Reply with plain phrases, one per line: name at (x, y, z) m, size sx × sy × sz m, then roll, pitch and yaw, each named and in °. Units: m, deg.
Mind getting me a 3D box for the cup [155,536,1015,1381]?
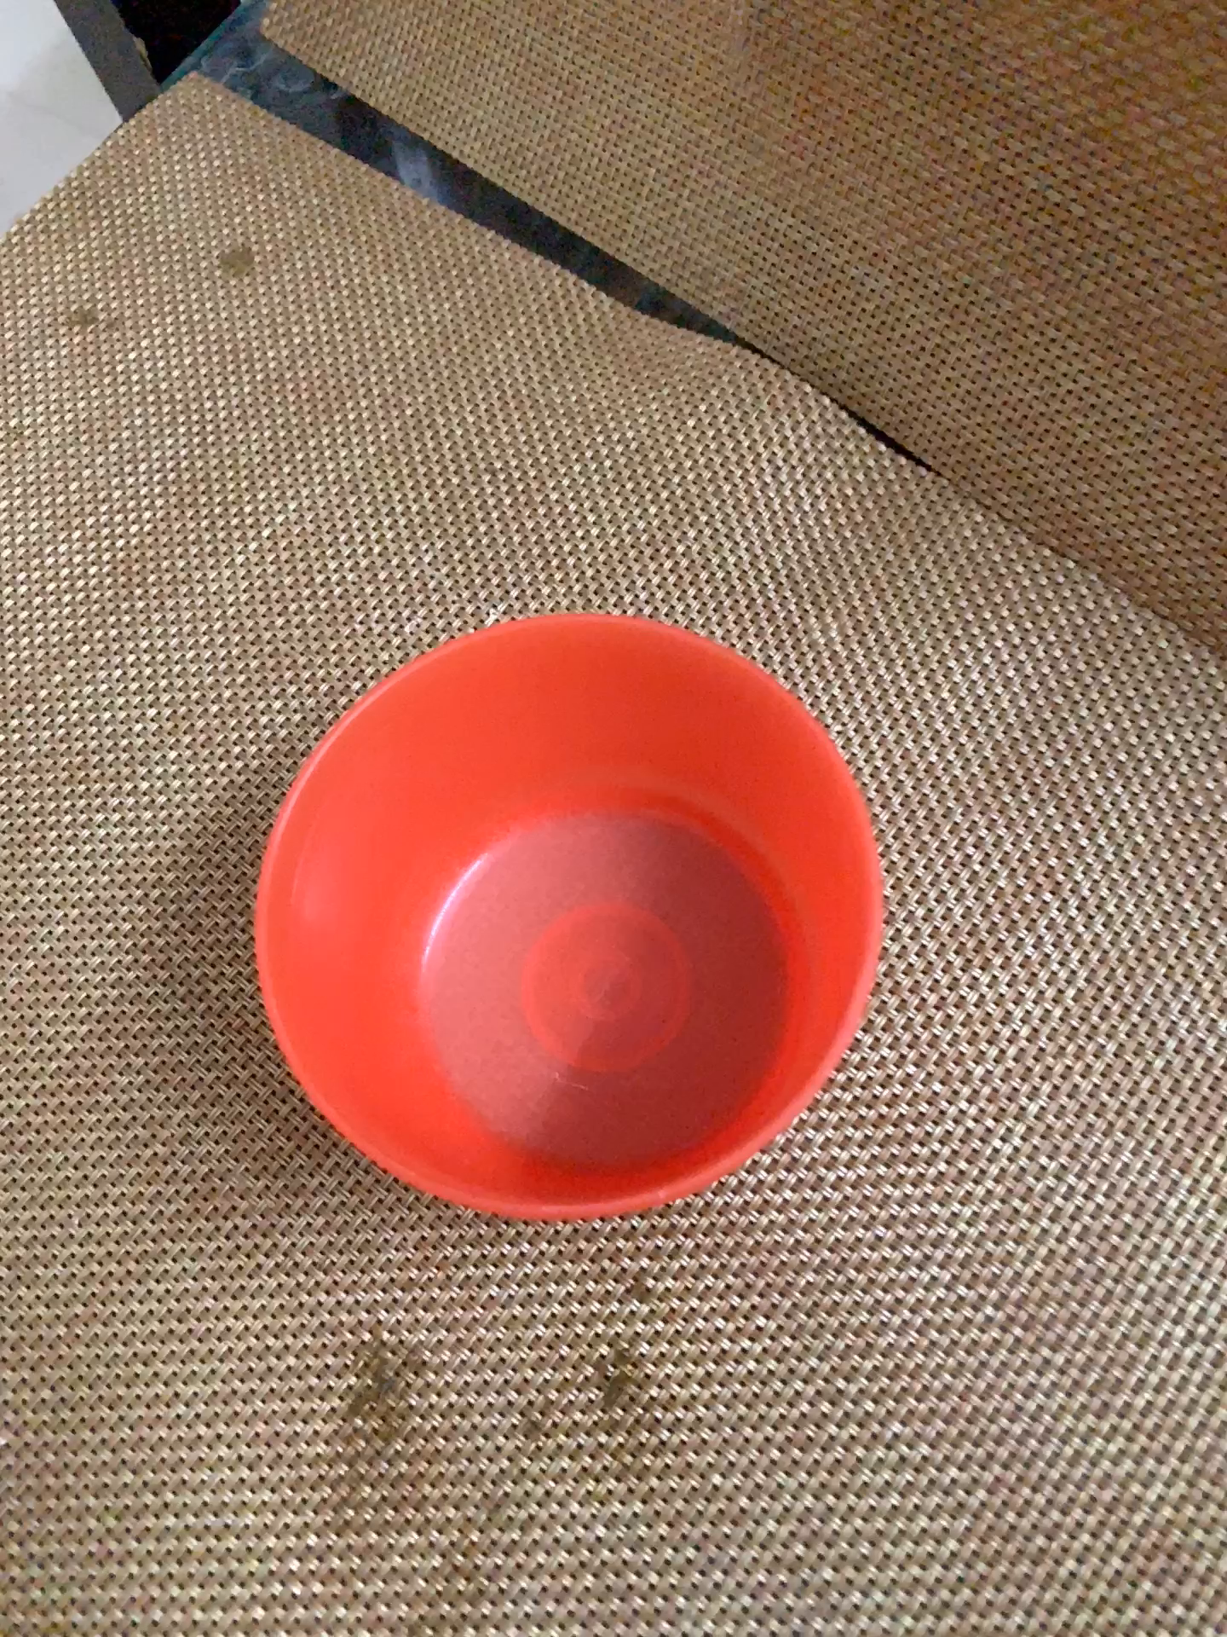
cup at (-0.003, 0.019, 0.168) m, size 0.070 × 0.050 × 0.070 m, roll -2°, pitch 68°, yaw 5°
